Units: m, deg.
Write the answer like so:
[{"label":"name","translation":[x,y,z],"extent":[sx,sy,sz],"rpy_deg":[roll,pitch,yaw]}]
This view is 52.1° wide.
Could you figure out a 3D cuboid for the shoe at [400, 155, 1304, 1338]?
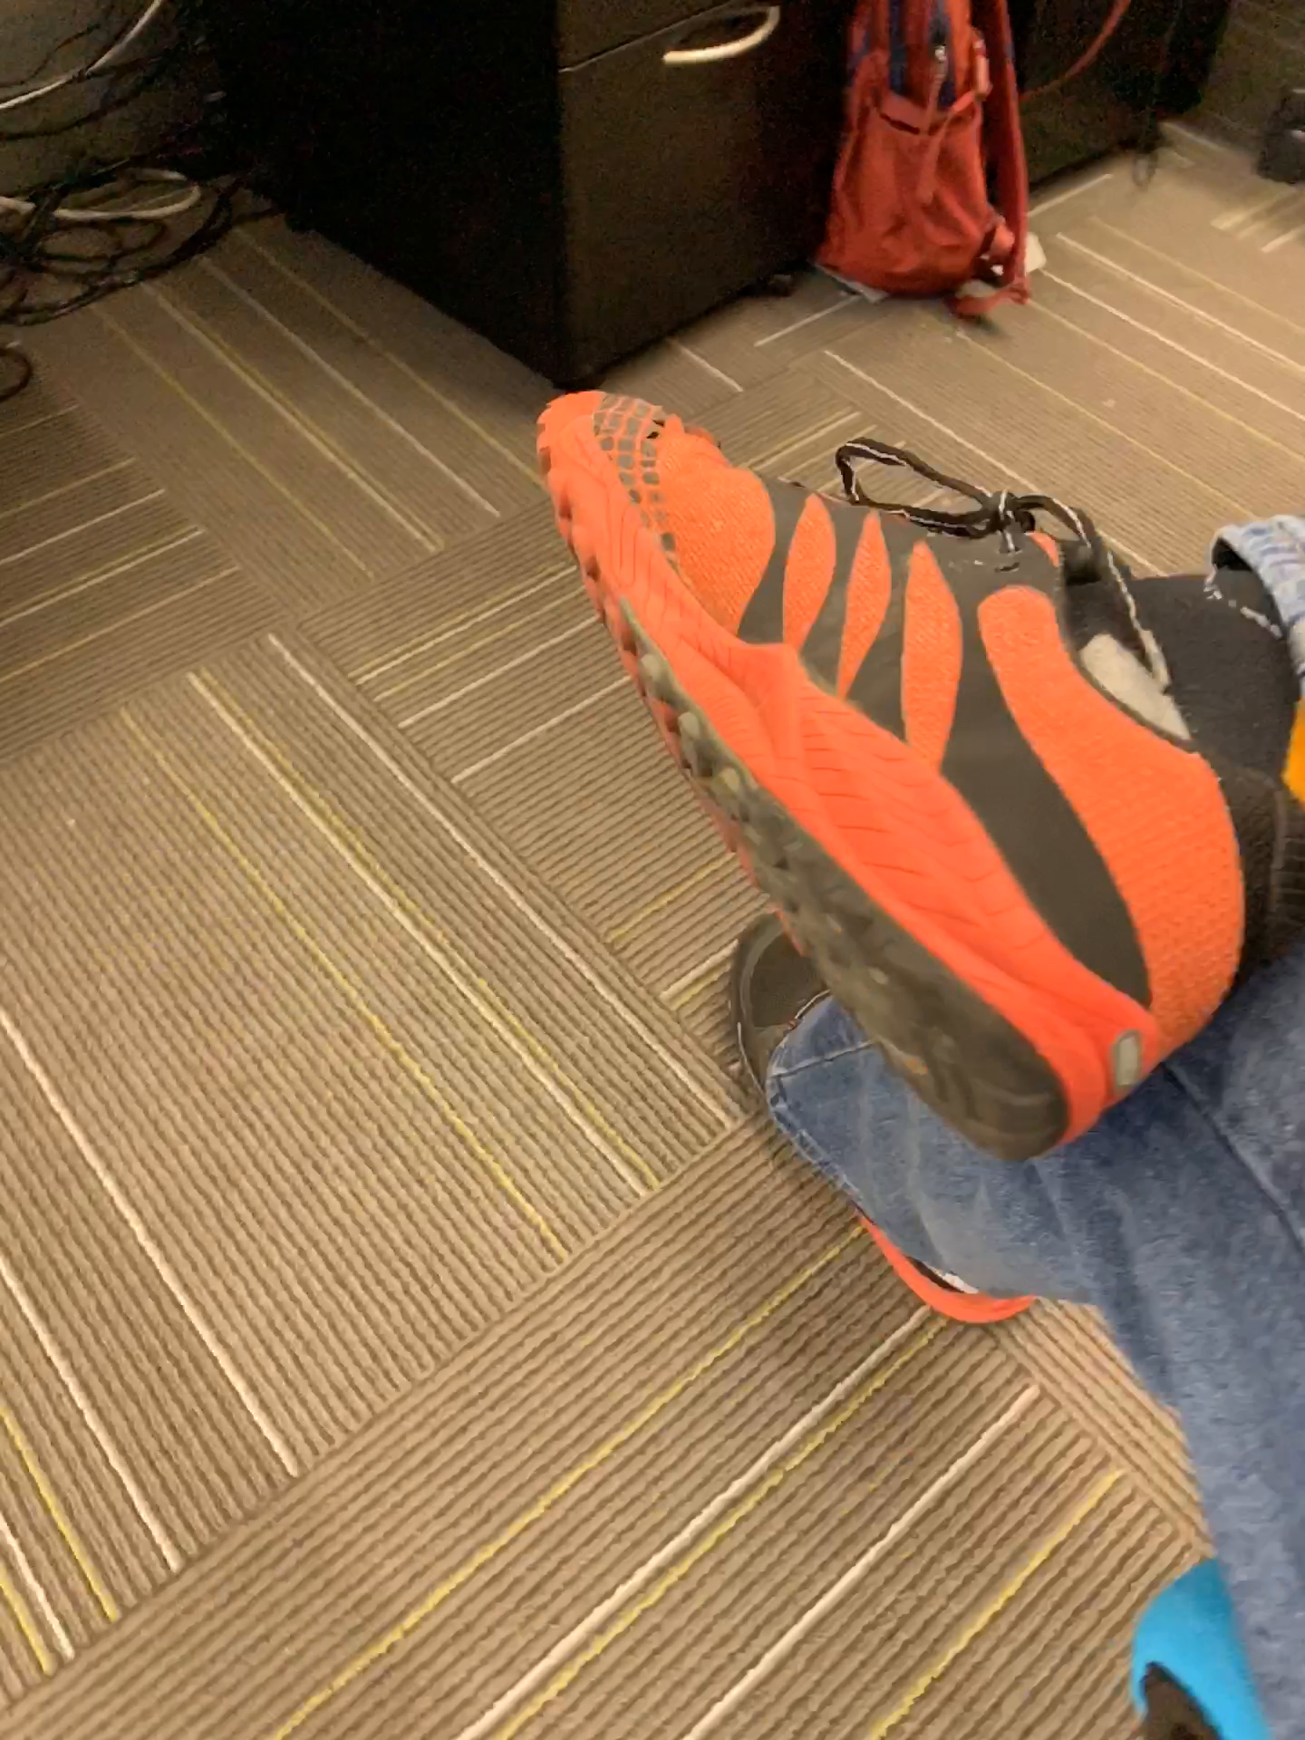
[{"label":"shoe","translation":[0.063,-0.061,0.384],"extent":[0.146,0.110,0.322],"rpy_deg":[-25,56,-11]}]

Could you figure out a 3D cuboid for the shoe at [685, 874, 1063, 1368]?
[{"label":"shoe","translation":[0.138,0.158,0.917],"extent":[0.117,0.067,0.319],"rpy_deg":[-14,55,-16]}]
